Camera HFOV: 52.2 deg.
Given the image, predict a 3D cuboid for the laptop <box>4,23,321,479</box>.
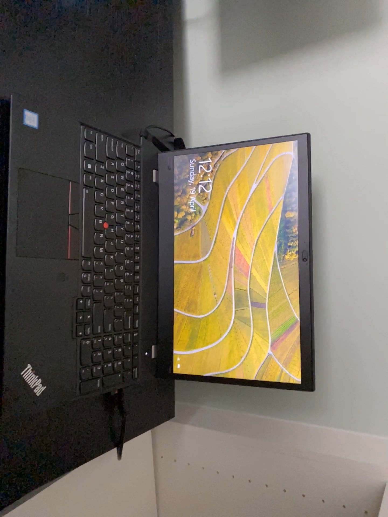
[{"bbox_3d":[-0.015,0.000,0.484,0.295,0.231,0.351,6,82,-56],"label":"laptop"}]
